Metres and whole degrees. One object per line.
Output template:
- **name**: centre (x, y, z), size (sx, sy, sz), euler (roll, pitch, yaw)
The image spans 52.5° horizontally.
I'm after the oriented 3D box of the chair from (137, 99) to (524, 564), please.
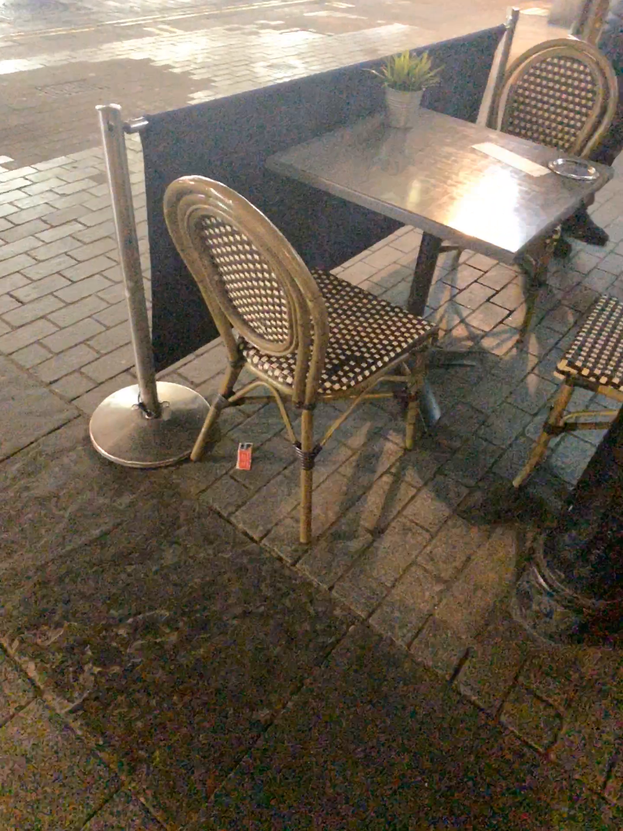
- **chair**: centre (0.026, -0.214, 1.511), size (0.512, 0.792, 0.604), euler (31, 47, 25)
